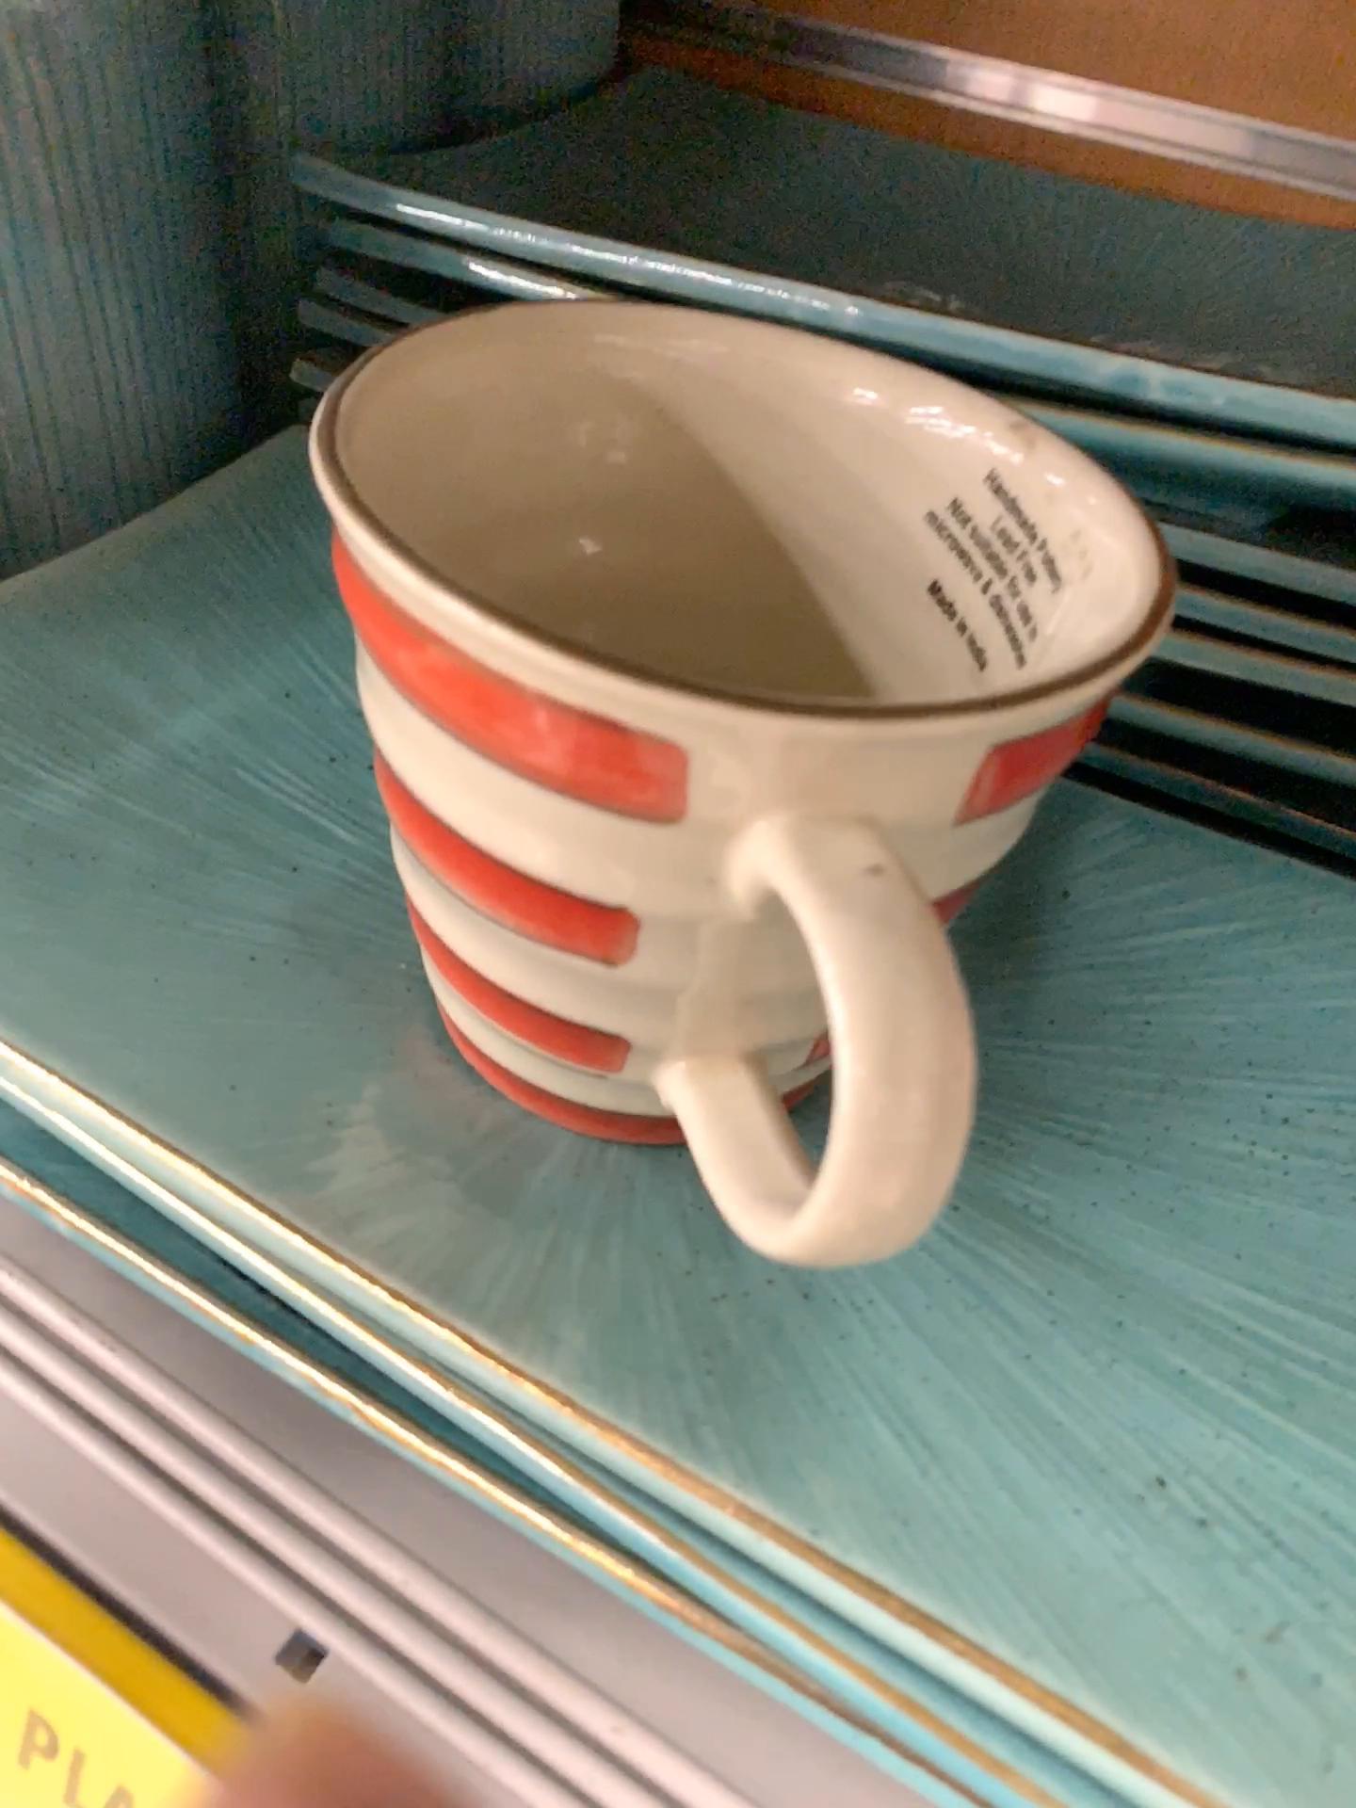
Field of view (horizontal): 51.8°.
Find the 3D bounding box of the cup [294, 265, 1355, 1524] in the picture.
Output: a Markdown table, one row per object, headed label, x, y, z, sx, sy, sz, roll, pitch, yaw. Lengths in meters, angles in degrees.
| label | x | y | z | sx | sy | sz | roll | pitch | yaw |
| --- | --- | --- | --- | --- | --- | --- | --- | --- | --- |
| cup | 0.005 | -0.011 | 0.184 | 0.100 | 0.090 | 0.131 | -3 | 43 | -16 |
